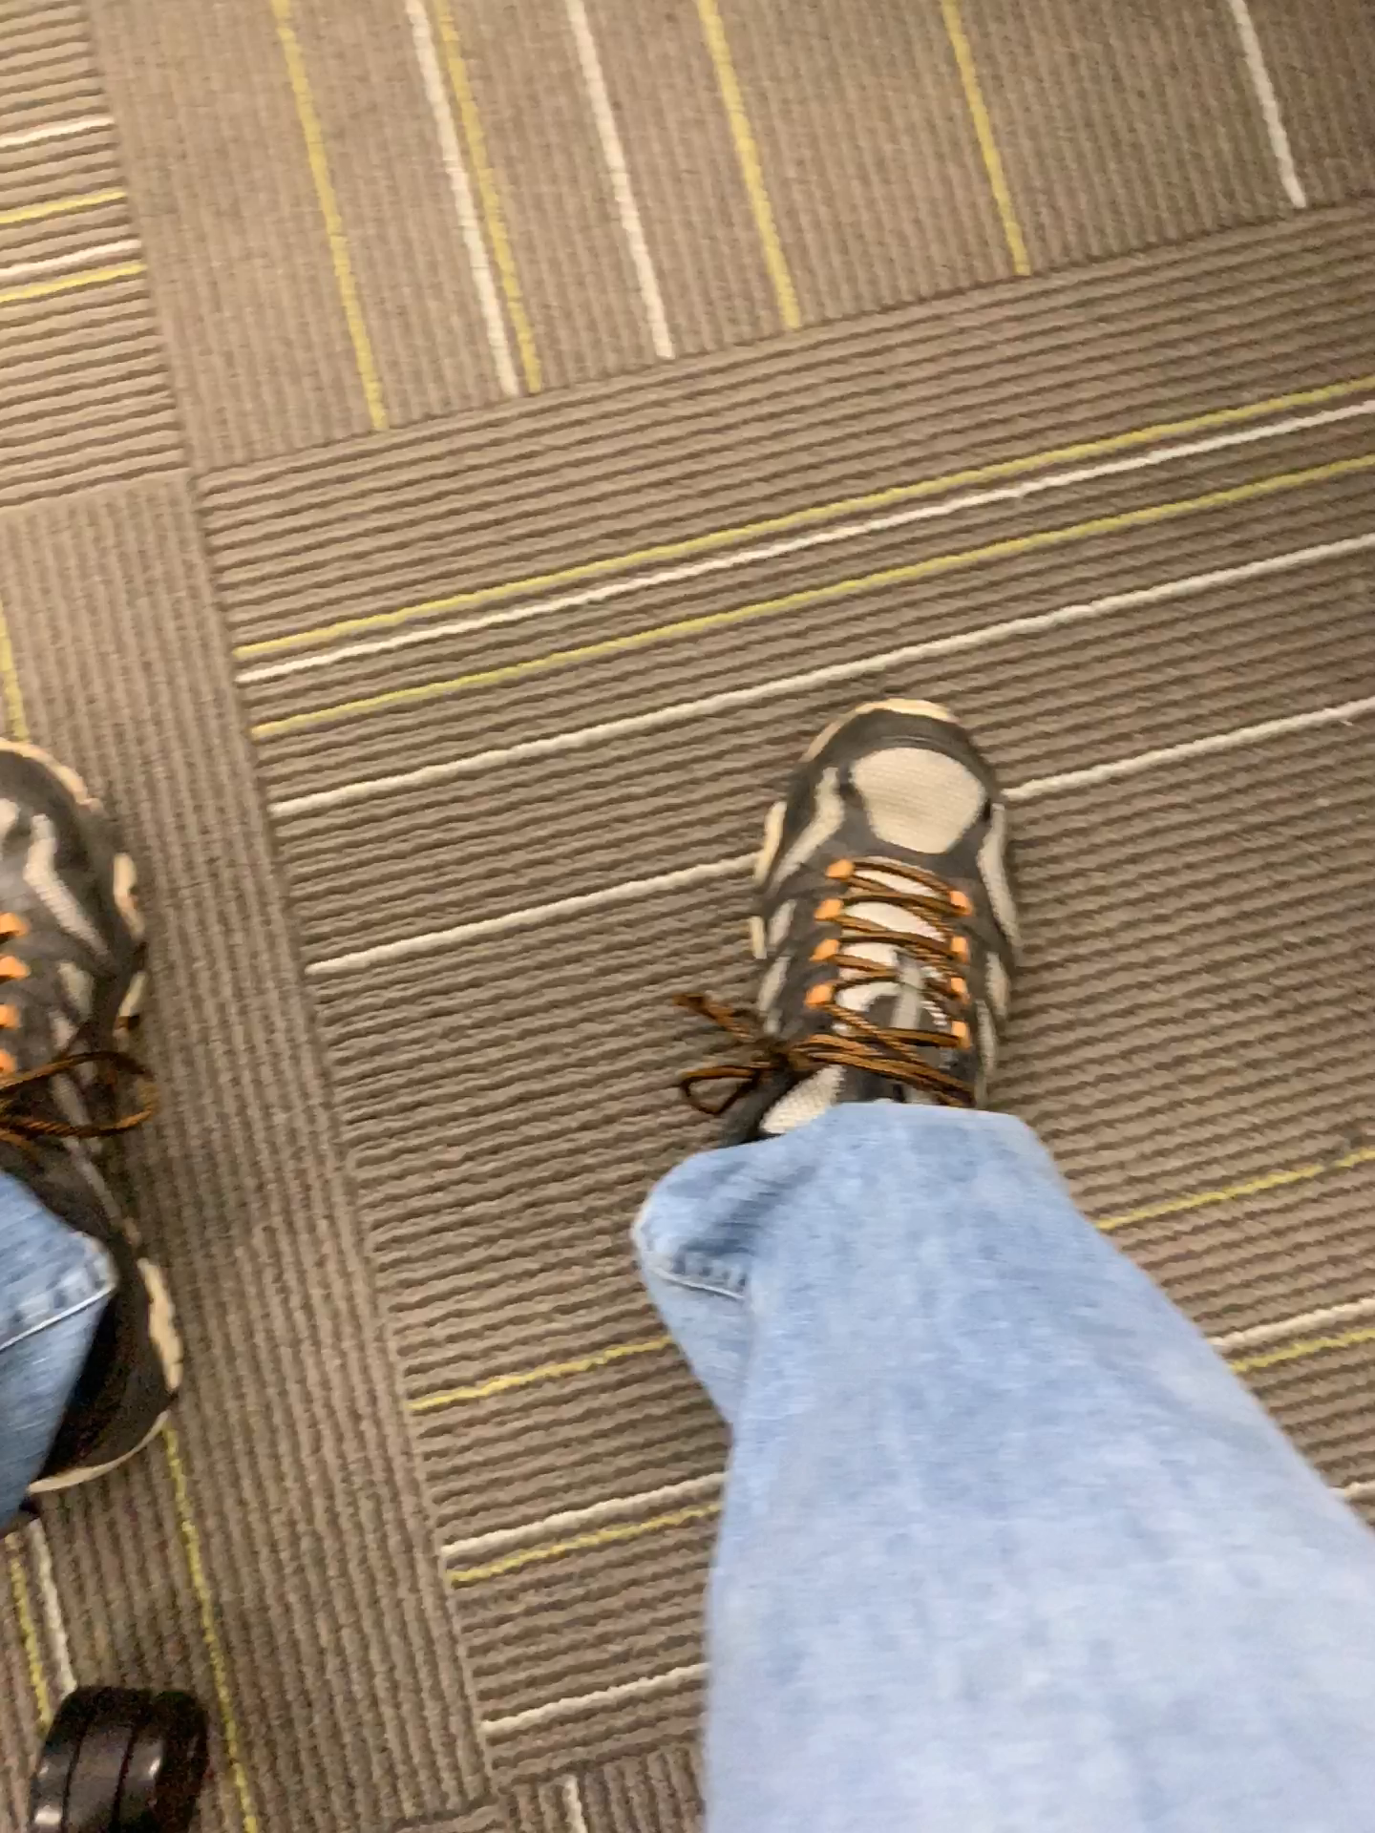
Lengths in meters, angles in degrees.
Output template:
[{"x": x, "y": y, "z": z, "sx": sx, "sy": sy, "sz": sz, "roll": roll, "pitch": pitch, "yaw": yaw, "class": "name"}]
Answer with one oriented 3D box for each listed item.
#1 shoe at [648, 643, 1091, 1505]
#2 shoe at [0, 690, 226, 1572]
[{"x": 0.073, "y": 0.062, "z": 0.605, "sx": 0.122, "sy": 0.095, "sz": 0.322, "roll": 11, "pitch": 85, "yaw": 0, "class": "shoe"}, {"x": -0.295, "y": 0.083, "z": 0.596, "sx": 0.125, "sy": 0.095, "sz": 0.323, "roll": -10, "pitch": 85, "yaw": -2, "class": "shoe"}]
